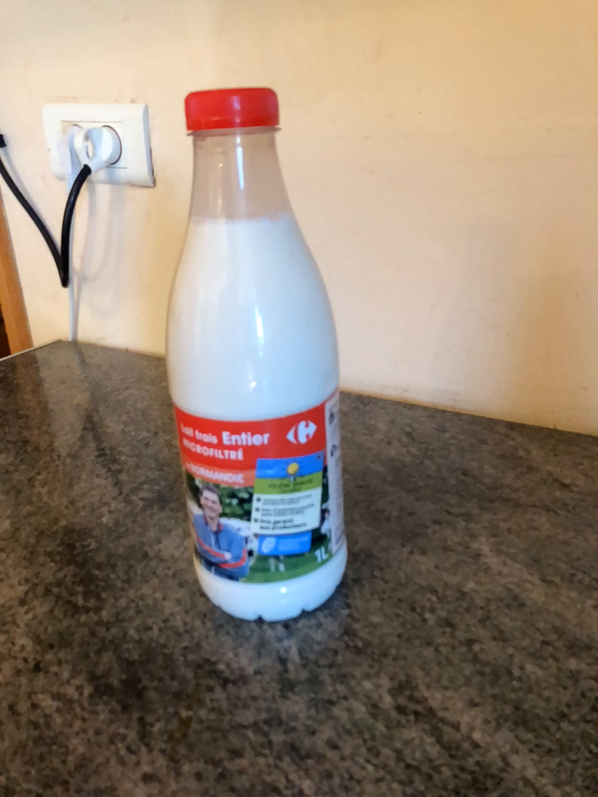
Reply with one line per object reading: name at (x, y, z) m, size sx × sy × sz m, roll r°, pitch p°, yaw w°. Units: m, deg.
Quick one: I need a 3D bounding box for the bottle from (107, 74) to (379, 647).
bottle at (-0.013, -0.014, 0.317) m, size 0.090 × 0.249 × 0.080 m, roll 4°, pitch 23°, yaw 16°
